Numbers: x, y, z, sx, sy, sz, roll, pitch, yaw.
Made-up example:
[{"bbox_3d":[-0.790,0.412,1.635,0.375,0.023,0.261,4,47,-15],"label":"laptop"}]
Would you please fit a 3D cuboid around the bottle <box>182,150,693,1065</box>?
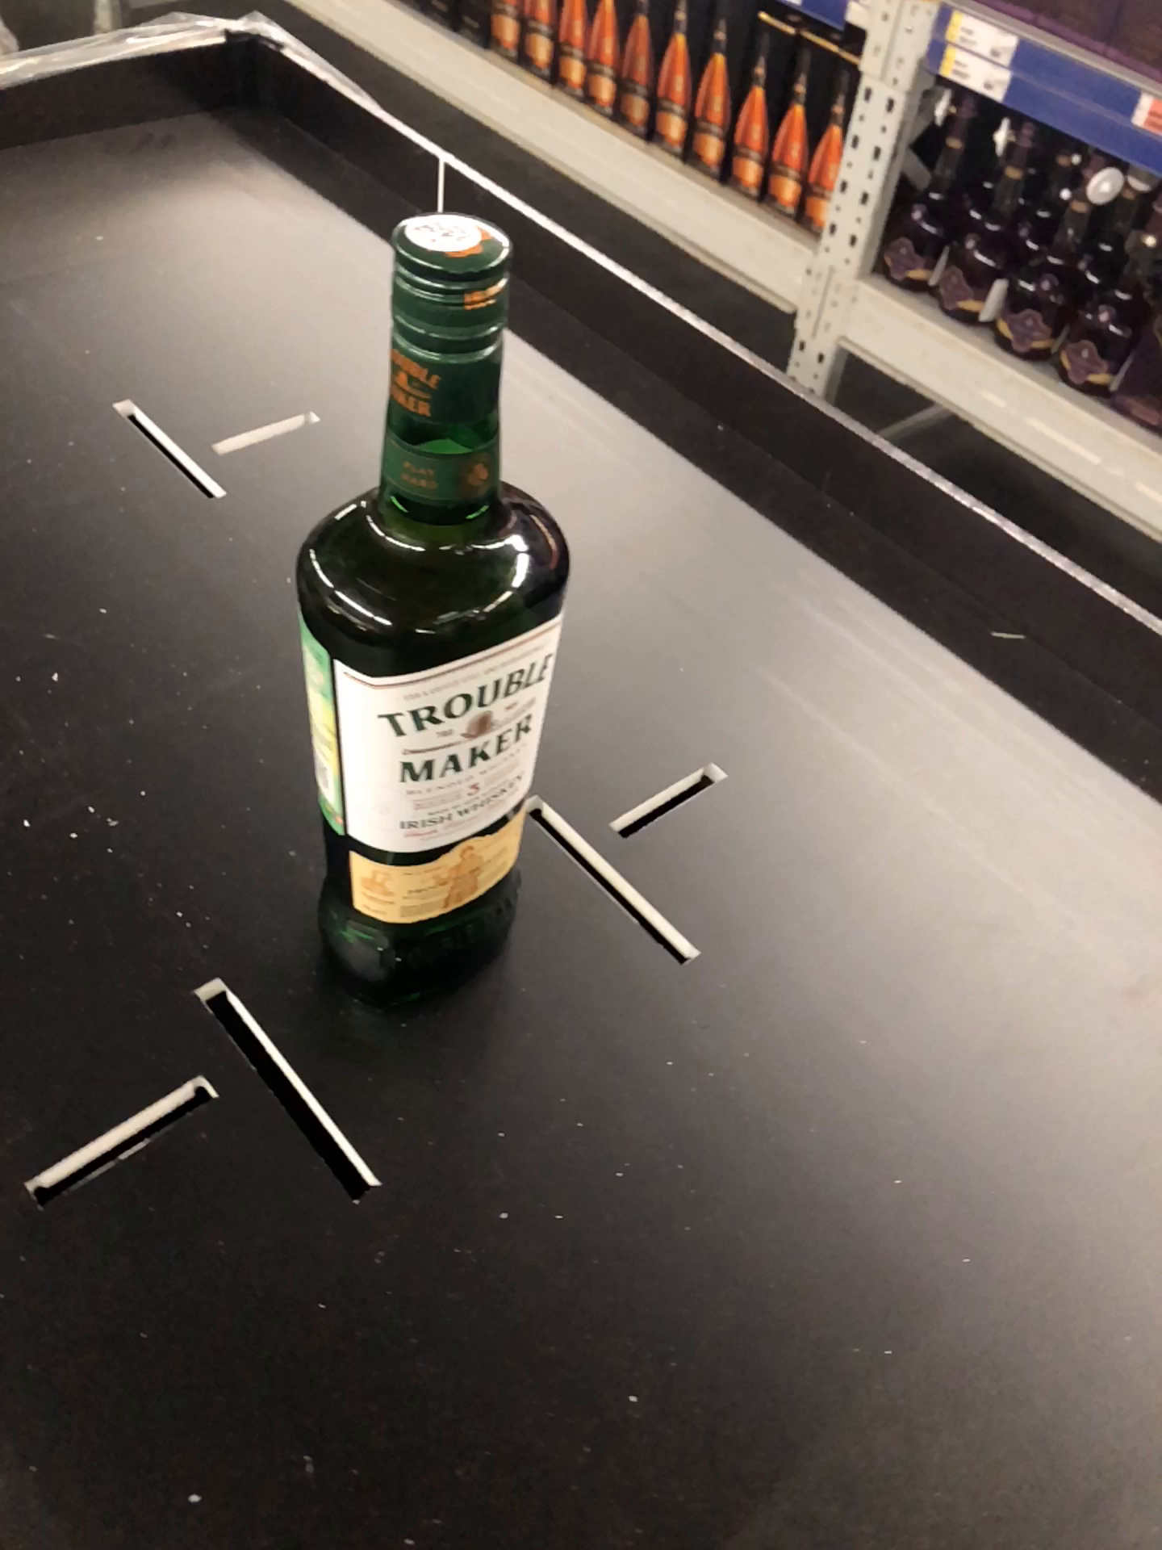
[{"bbox_3d":[-0.052,-0.033,0.430,0.100,0.298,0.080,-26,56,-28],"label":"bottle"}]
